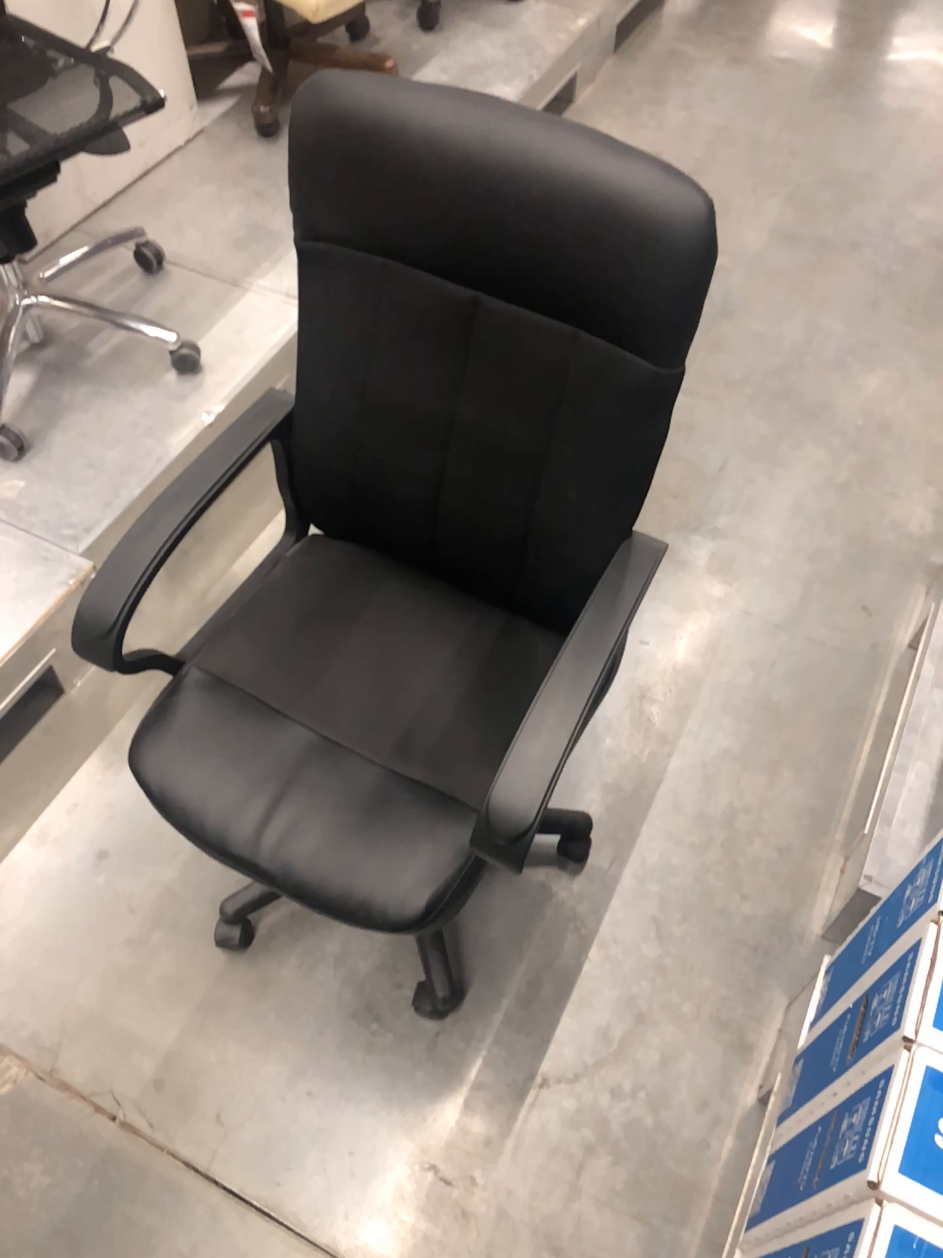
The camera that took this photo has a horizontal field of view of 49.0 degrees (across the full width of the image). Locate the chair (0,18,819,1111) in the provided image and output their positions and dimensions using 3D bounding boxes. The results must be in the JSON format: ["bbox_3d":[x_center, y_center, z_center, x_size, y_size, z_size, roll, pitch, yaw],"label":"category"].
[{"bbox_3d":[-0.121,0.023,1.311,0.650,1.124,0.633,23,57,15],"label":"chair"}]
